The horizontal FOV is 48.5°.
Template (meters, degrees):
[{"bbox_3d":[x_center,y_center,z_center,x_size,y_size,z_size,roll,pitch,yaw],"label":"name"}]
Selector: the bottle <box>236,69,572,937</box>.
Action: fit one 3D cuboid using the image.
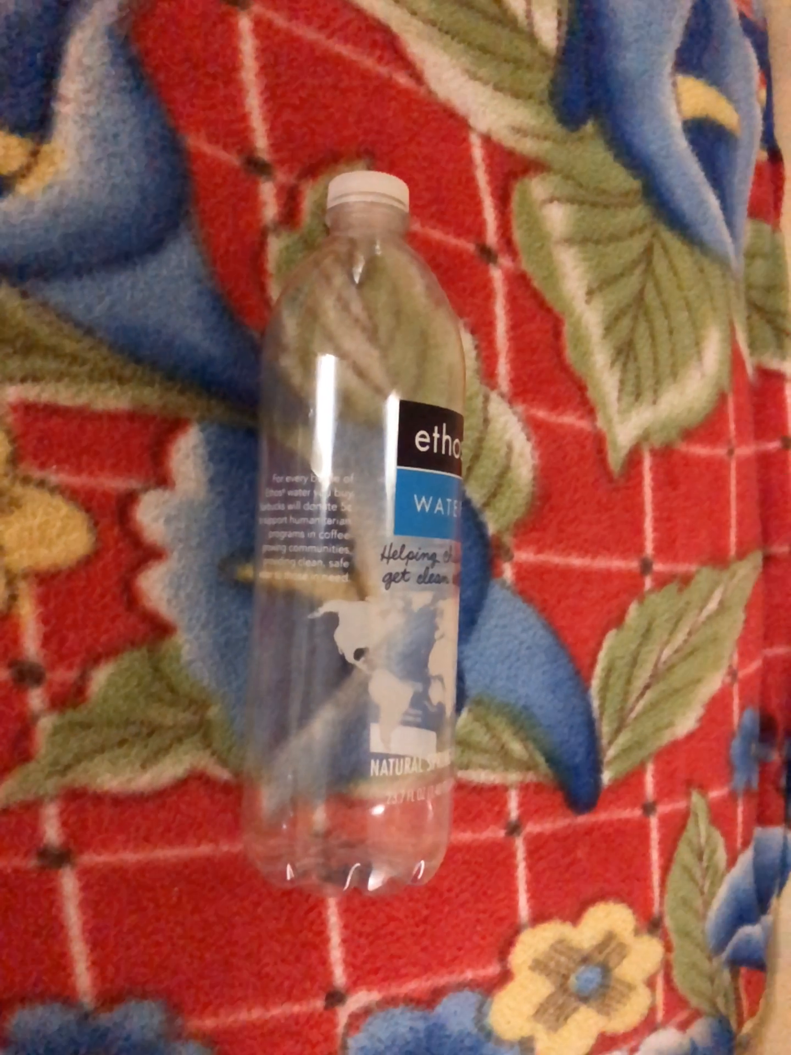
[{"bbox_3d":[0.004,-0.007,0.291,0.070,0.070,0.240,3,90,-55],"label":"bottle"}]
